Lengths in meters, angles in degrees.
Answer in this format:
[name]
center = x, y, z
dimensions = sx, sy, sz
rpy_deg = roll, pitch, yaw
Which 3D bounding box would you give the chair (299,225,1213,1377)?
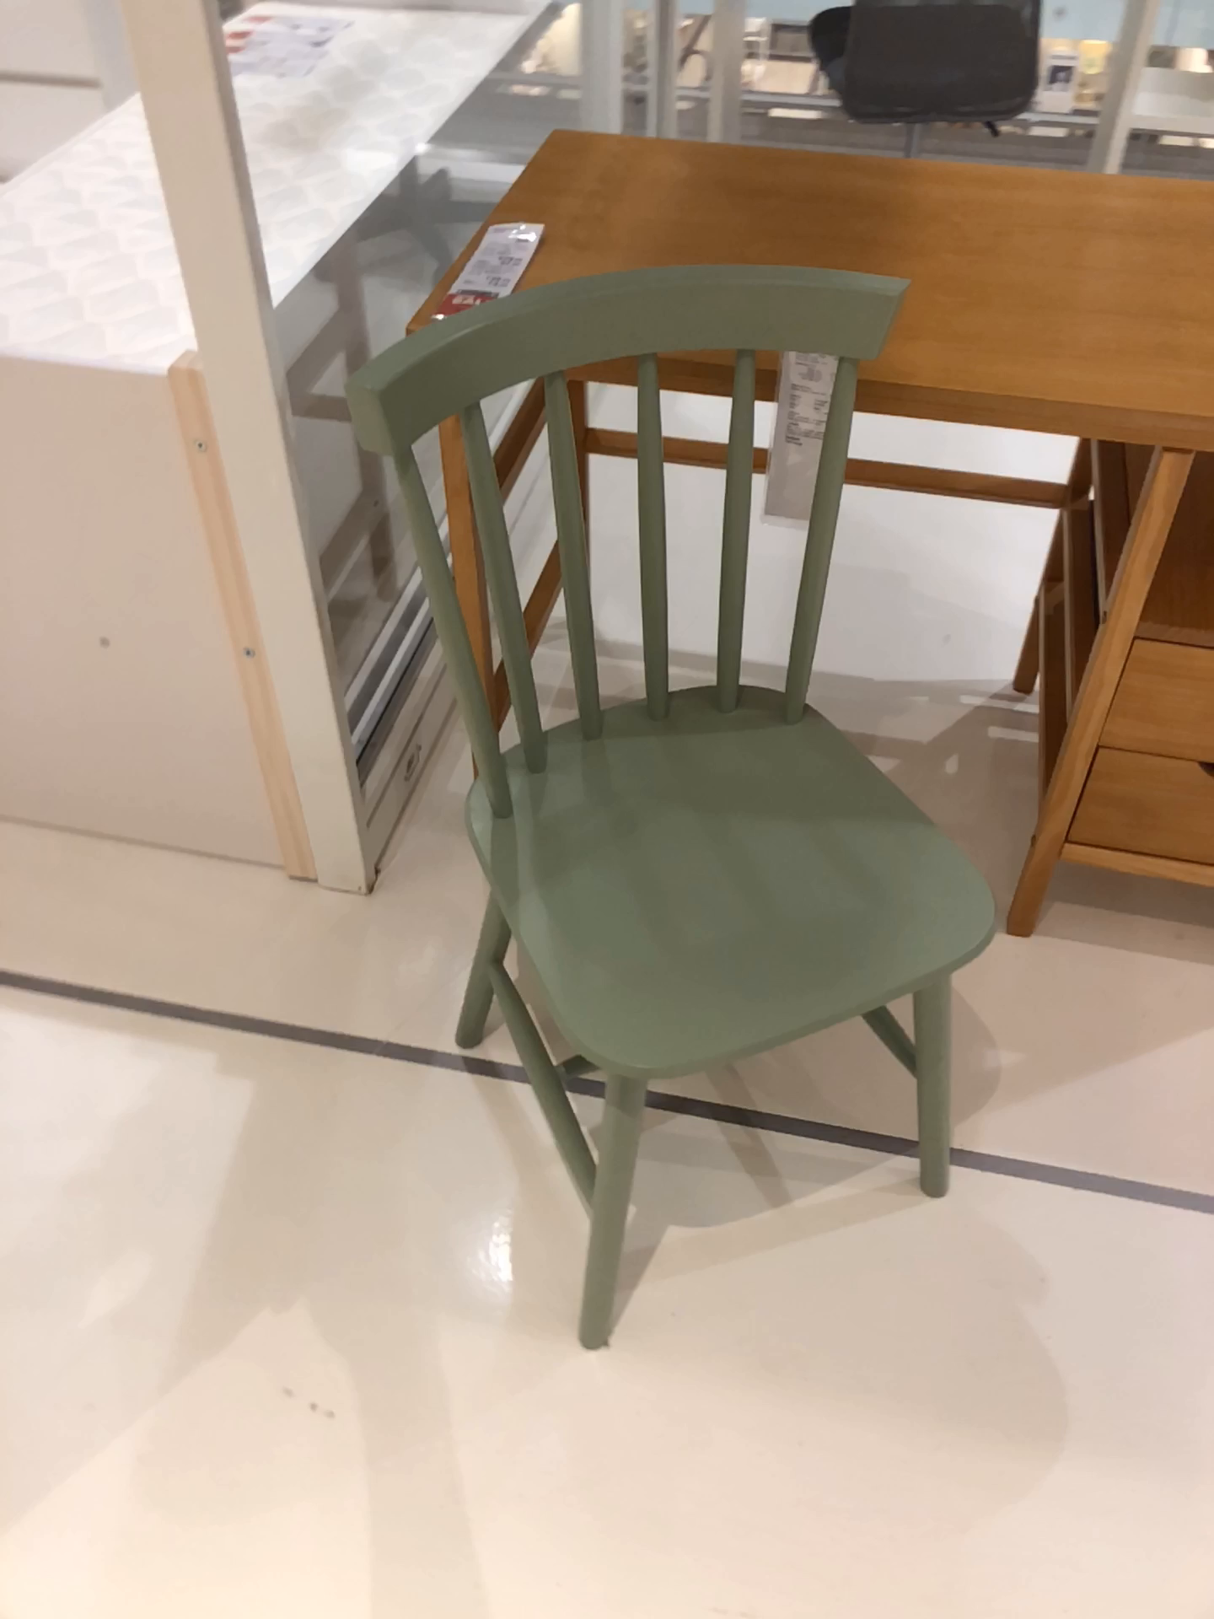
[chair]
center = 0.075, 0.024, 1.183
dimensions = 0.451, 0.834, 0.463
rpy_deg = -18, 47, -17
